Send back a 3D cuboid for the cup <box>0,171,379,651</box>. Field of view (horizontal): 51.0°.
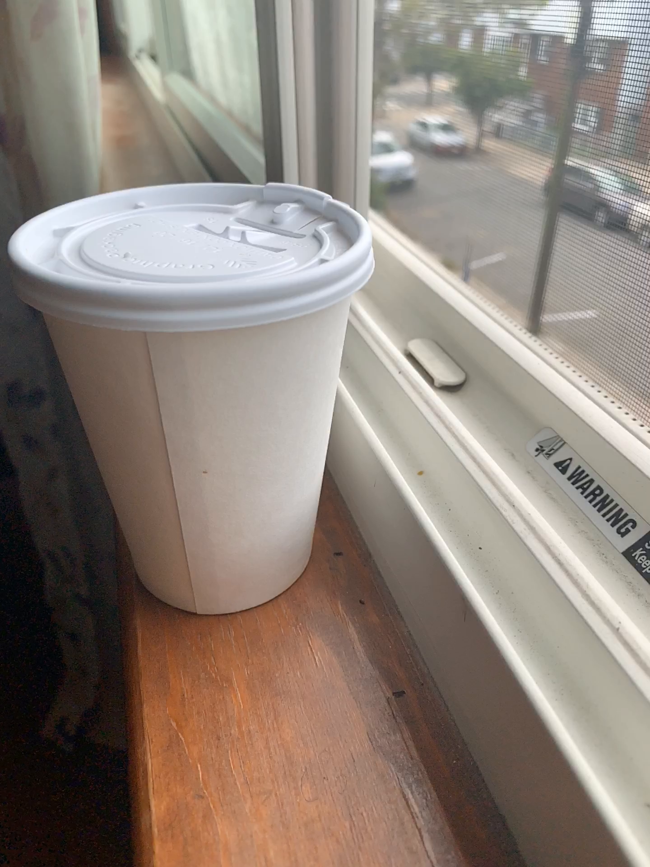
[{"bbox_3d":[-0.032,-0.011,0.193,0.090,0.099,0.091,0,33,0],"label":"cup"}]
